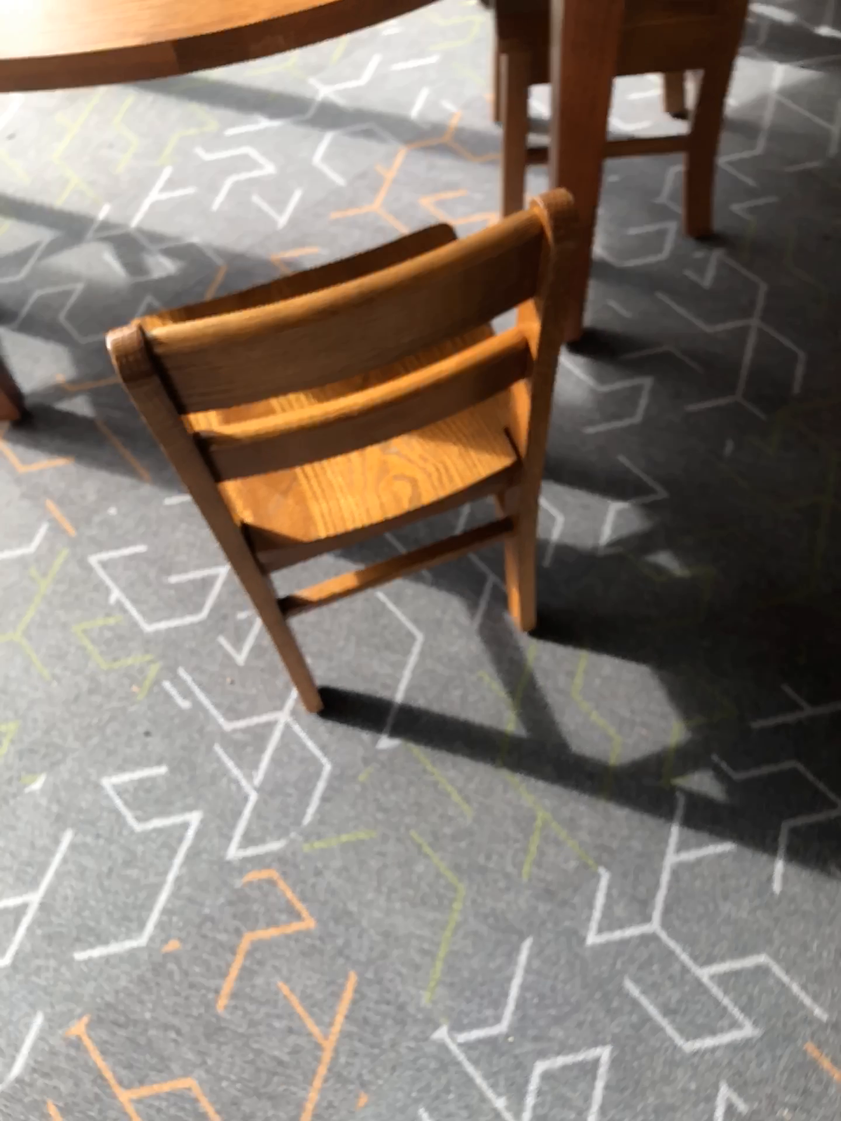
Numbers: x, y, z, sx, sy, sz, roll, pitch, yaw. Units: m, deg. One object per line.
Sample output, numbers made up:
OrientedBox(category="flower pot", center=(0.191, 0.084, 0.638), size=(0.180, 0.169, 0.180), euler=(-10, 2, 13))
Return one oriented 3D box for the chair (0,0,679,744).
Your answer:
OrientedBox(category="chair", center=(-0.074, -0.162, 0.899), size=(0.370, 0.667, 0.392), euler=(-21, 64, -7))
